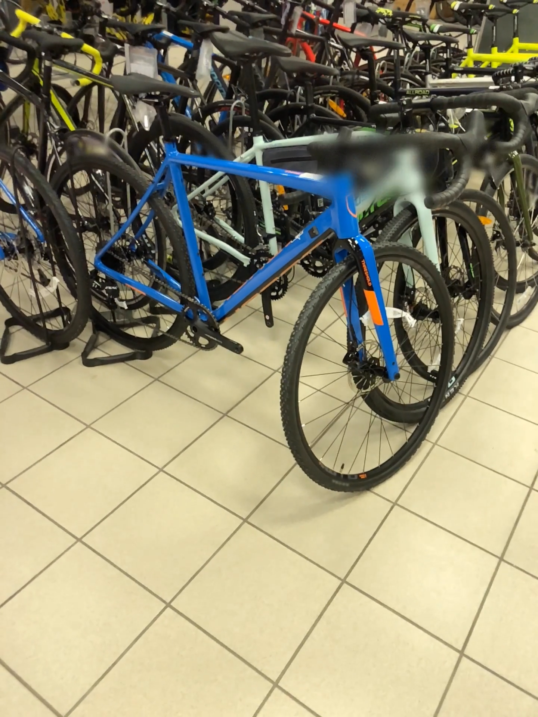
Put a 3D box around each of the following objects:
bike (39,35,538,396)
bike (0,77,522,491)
[{"bbox_3d":[0.106,-0.560,2.142,1.421,0.870,0.619,17,37,15],"label":"bike"},{"bbox_3d":[-0.091,-0.279,1.970,1.469,0.805,0.527,20,38,13],"label":"bike"}]
